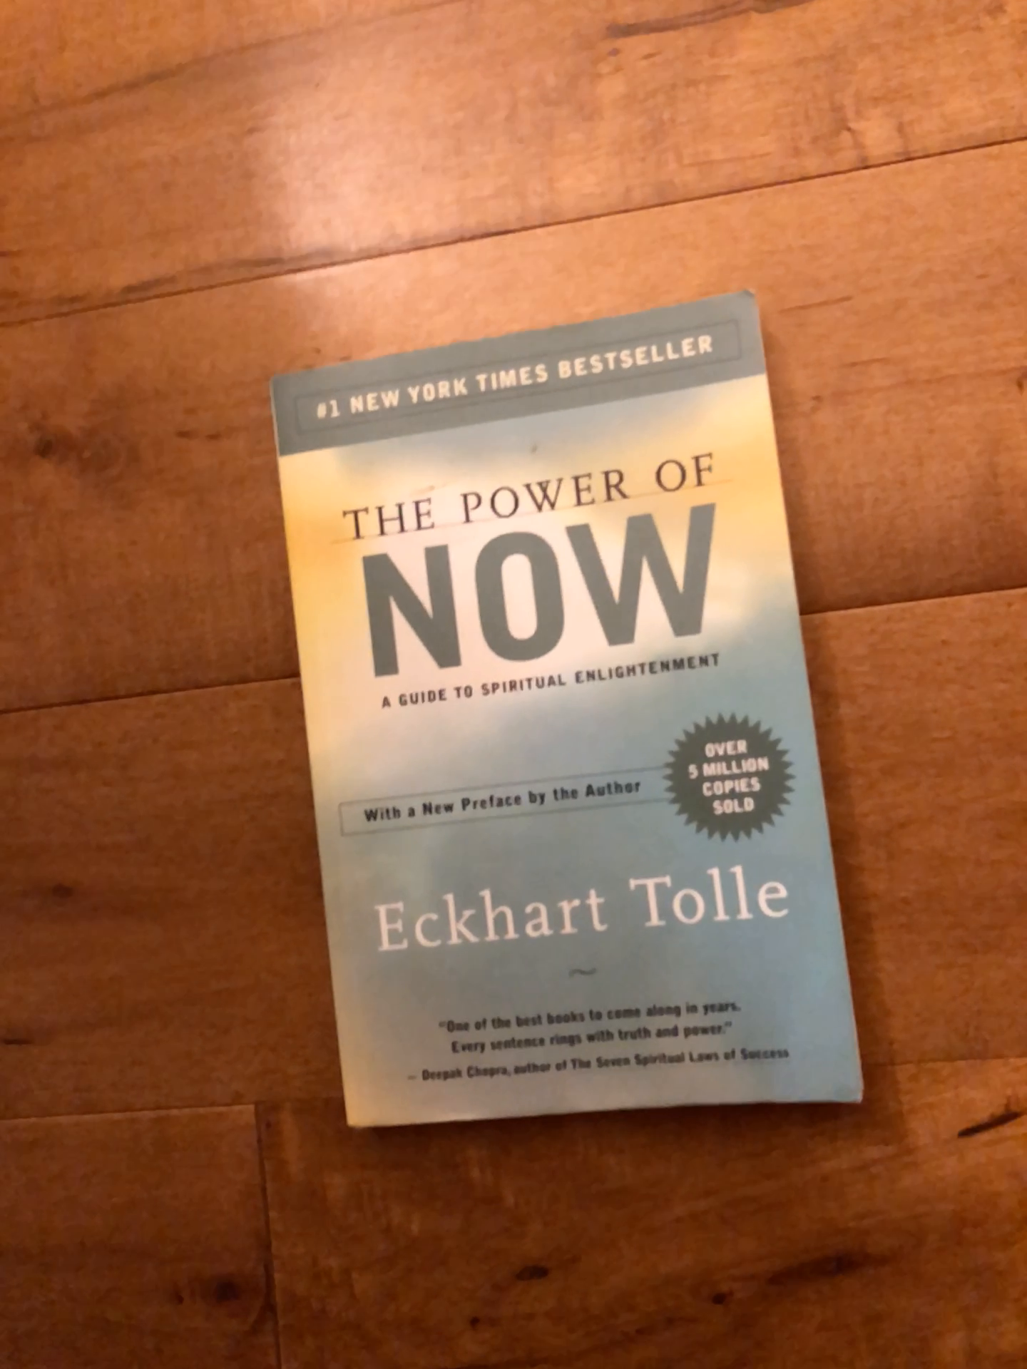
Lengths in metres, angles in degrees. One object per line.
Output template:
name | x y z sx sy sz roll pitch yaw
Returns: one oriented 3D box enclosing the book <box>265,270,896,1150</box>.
book | 0.014 0.009 0.324 0.146 0.030 0.222 -8 84 10
